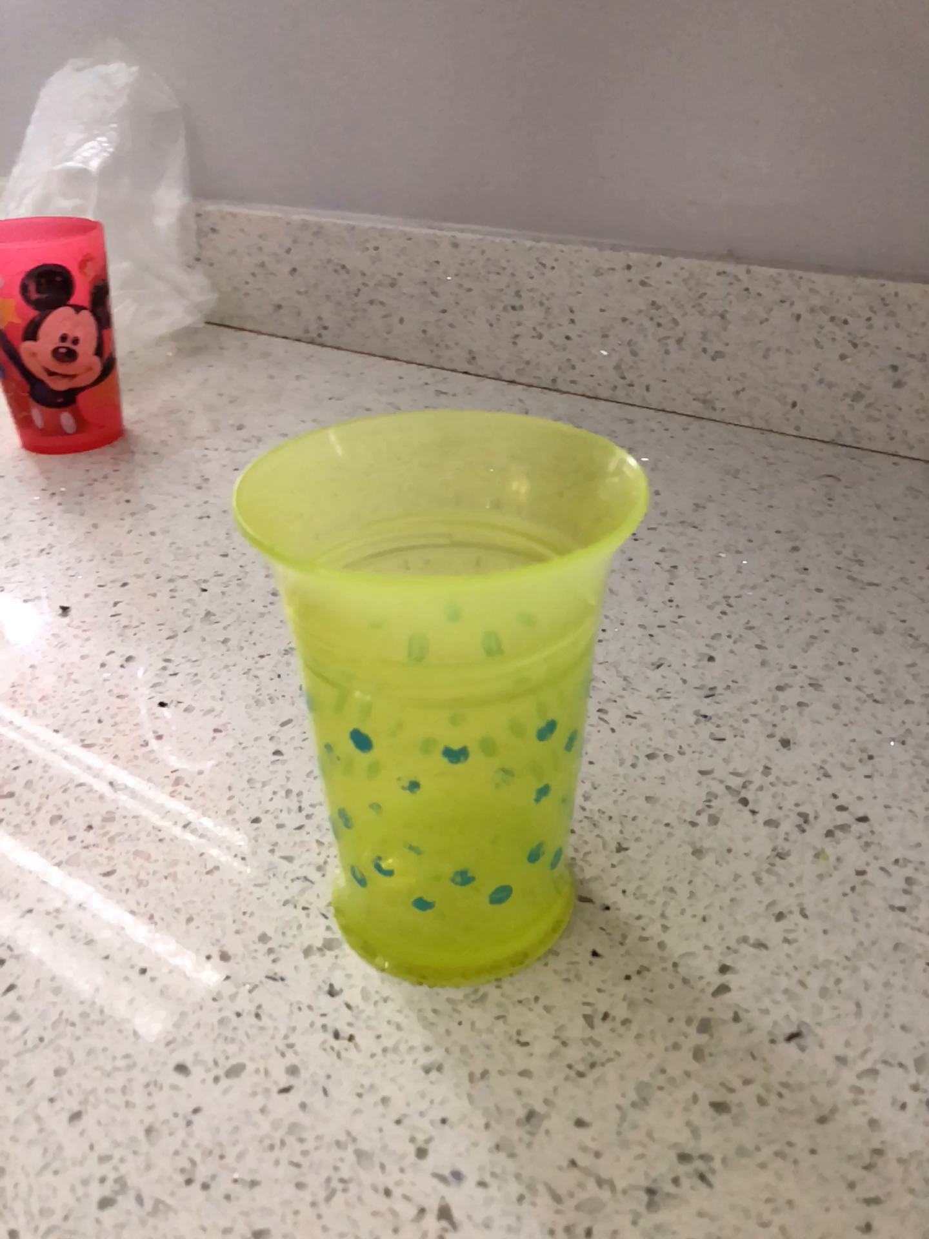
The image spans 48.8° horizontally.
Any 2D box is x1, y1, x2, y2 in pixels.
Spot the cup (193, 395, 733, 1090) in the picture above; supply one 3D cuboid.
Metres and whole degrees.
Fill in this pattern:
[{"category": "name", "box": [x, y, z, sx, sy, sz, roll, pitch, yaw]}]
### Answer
[{"category": "cup", "box": [-0.002, 0.021, 0.225, 0.073, 0.109, 0.078, -1, 31, 1]}]
